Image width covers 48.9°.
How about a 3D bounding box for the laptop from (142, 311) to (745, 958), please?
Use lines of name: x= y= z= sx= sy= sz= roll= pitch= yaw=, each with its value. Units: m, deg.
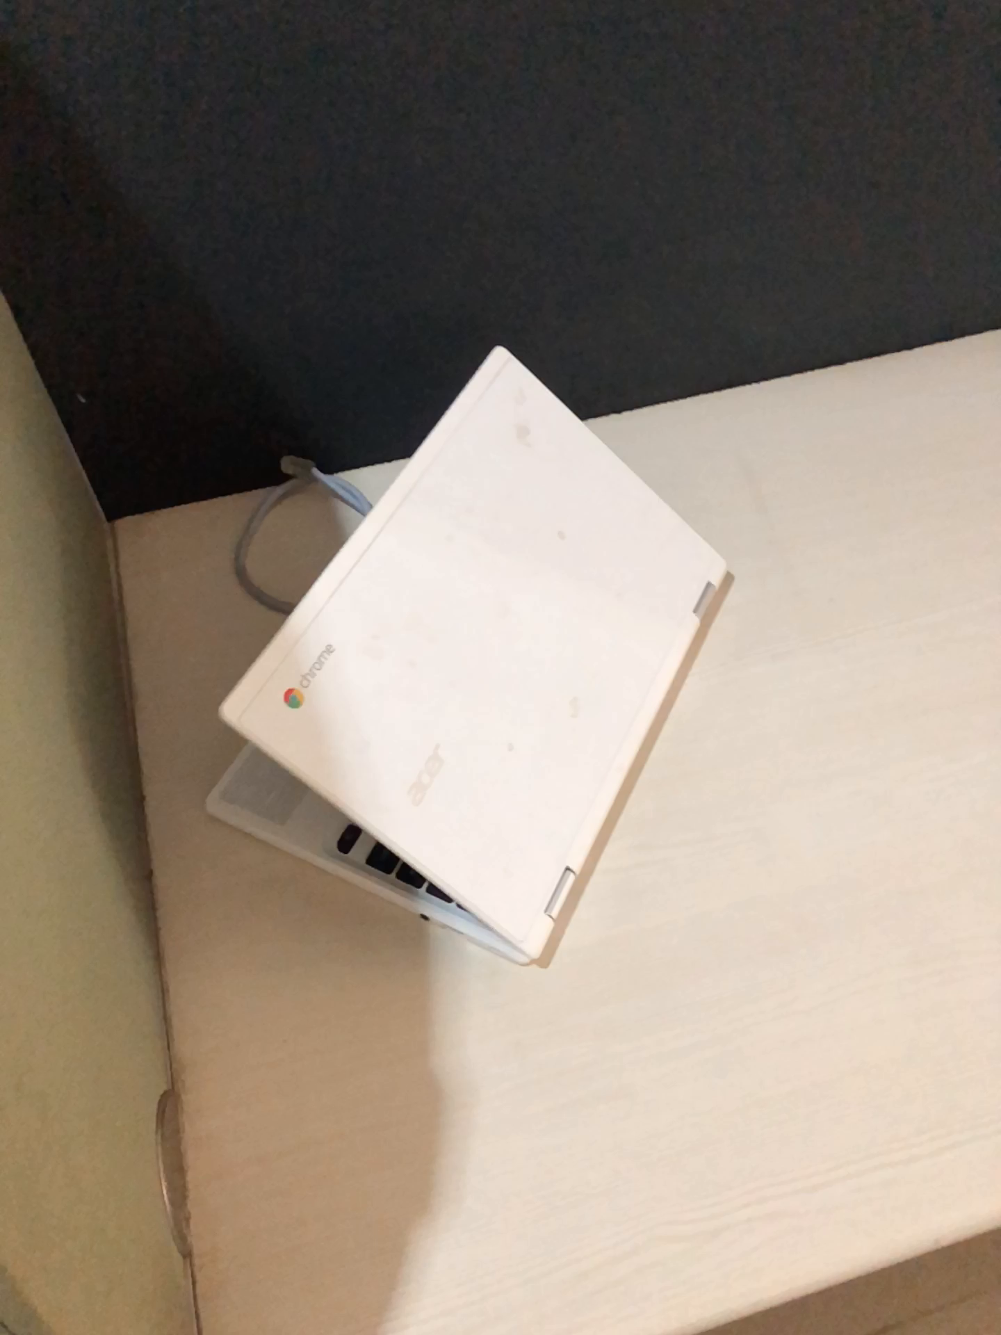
laptop: x=-0.012 y=-0.032 z=0.589 sx=0.187 sy=0.114 sz=0.286 roll=22 pitch=58 yaw=14
